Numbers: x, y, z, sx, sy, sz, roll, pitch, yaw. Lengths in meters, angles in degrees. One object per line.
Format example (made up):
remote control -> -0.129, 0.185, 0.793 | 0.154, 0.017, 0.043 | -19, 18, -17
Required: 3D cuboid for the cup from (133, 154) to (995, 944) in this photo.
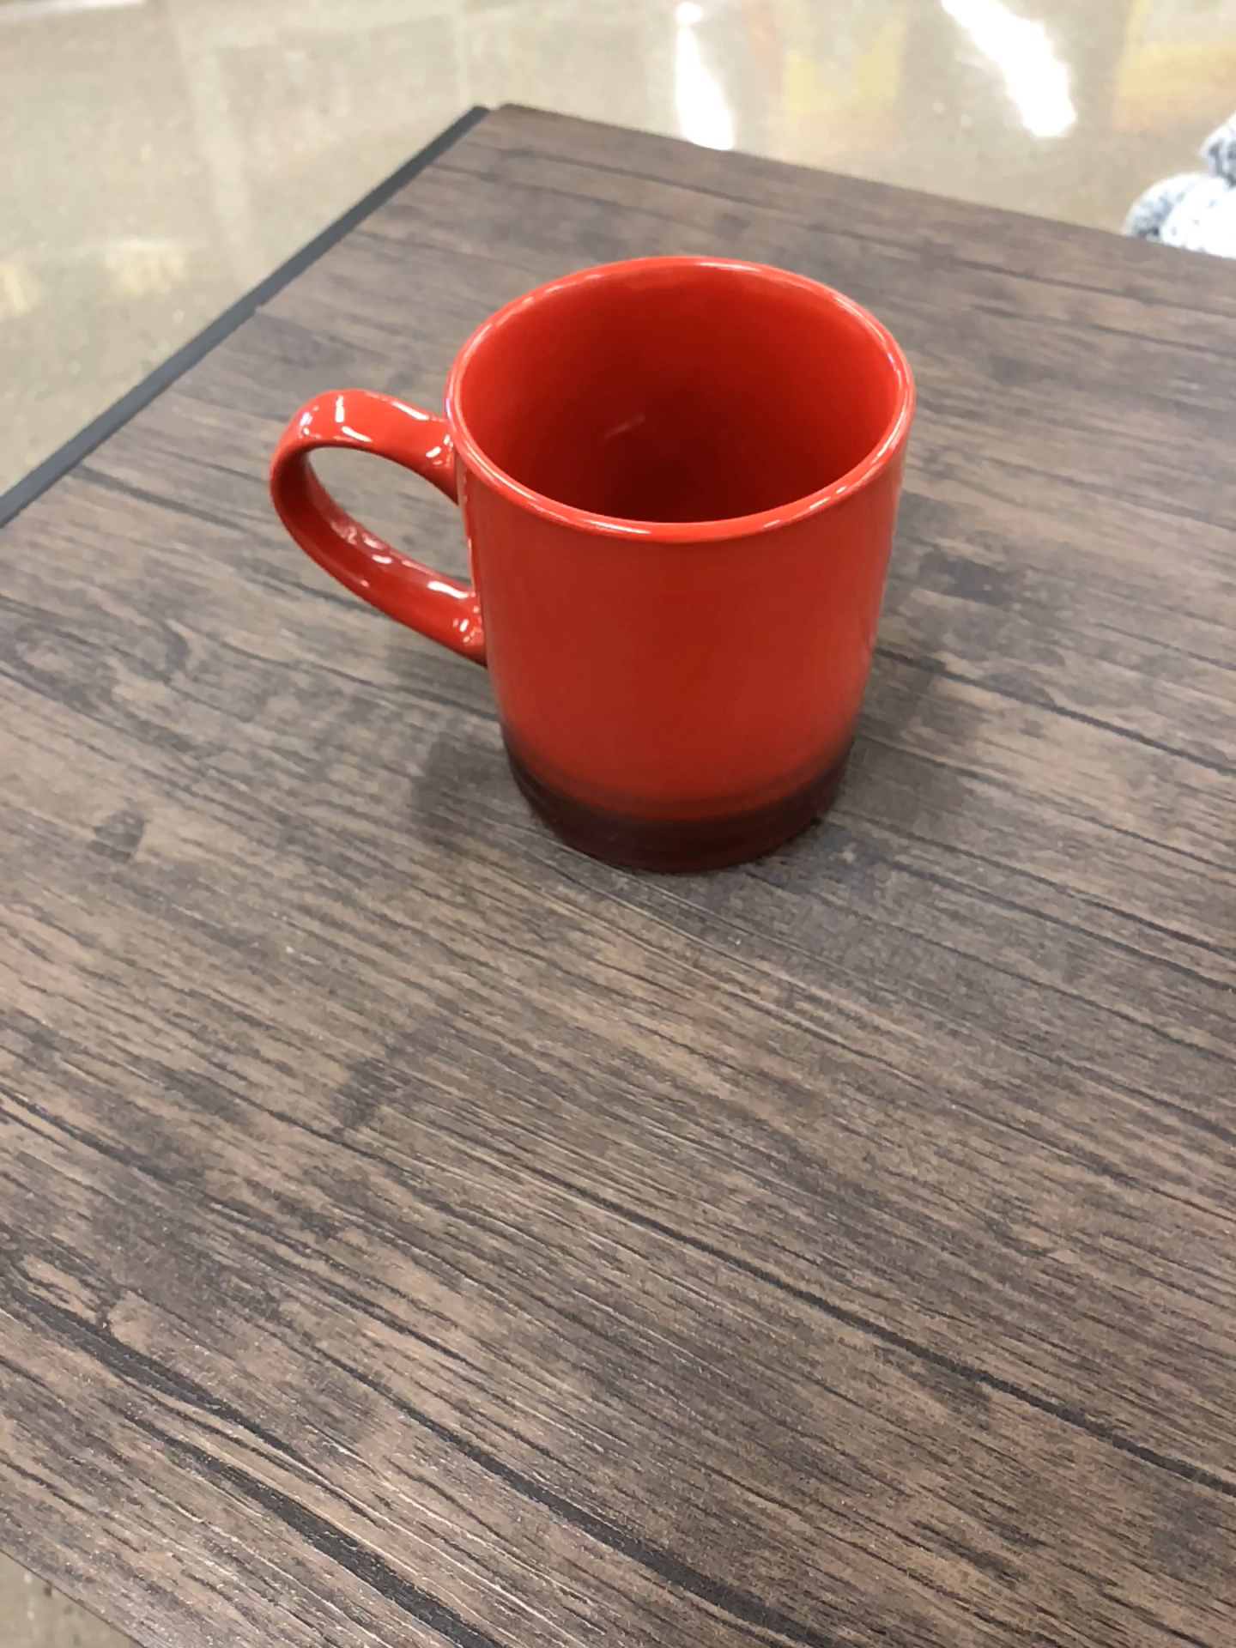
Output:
cup -> -0.005, -0.063, 0.312 | 0.140, 0.110, 0.100 | 16, 54, 15
